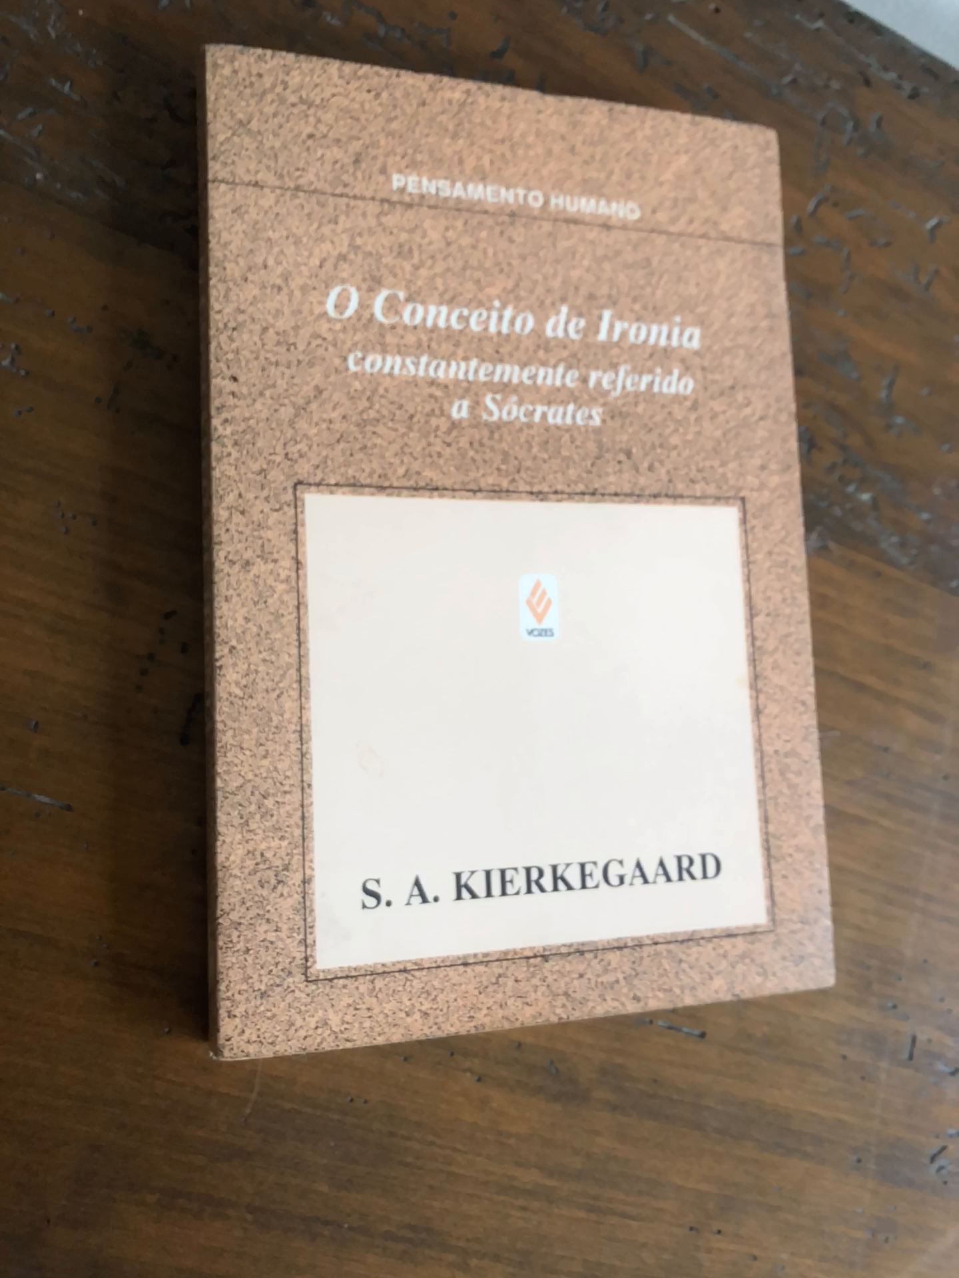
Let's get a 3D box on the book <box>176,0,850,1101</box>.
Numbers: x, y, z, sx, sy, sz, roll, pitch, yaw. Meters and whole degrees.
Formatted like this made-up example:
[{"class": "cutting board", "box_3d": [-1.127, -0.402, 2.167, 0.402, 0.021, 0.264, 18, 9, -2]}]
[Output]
[{"class": "book", "box_3d": [0.007, -0.023, 0.246, 0.144, 0.024, 0.220, 0, 84, -18]}]
